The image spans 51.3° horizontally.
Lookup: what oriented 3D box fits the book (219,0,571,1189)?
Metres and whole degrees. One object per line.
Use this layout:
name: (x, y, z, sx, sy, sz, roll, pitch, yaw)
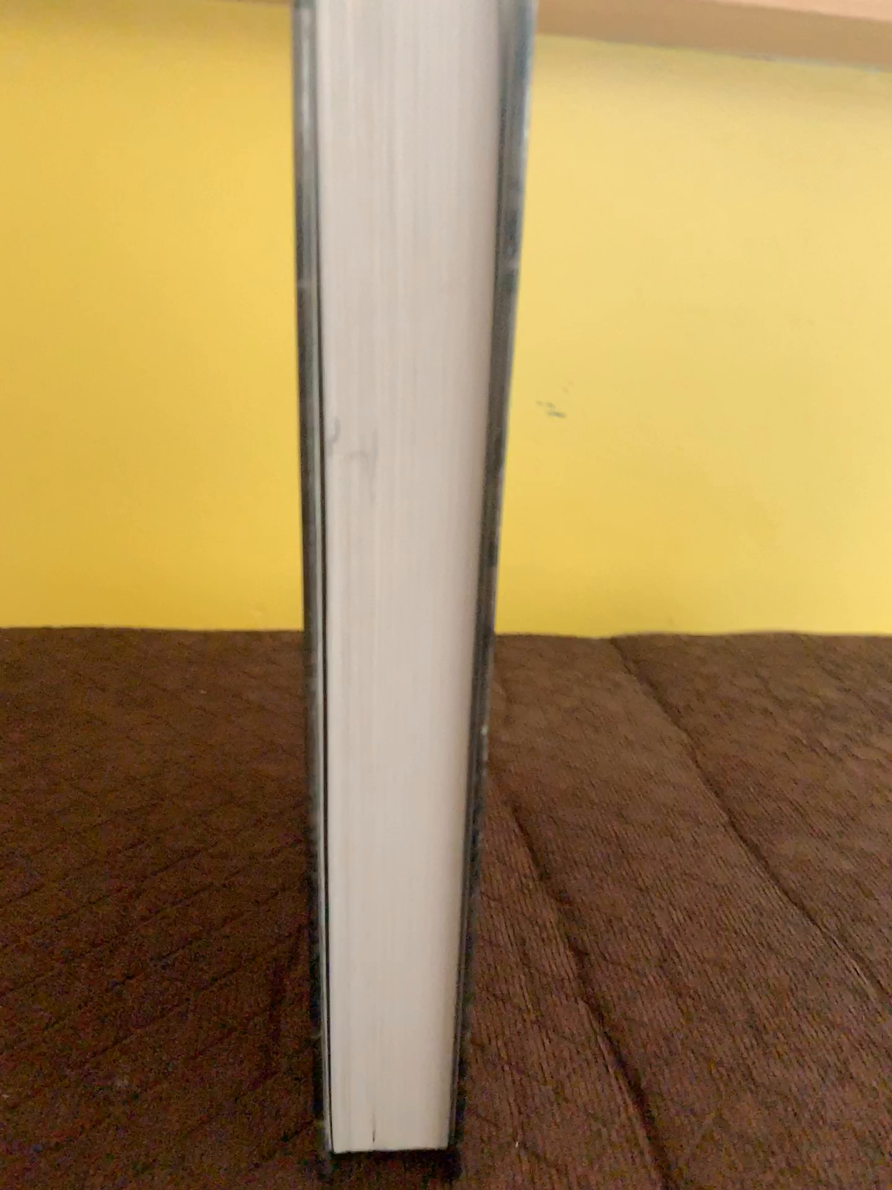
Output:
book: (-0.008, -0.009, 0.217, 0.040, 0.229, 0.161, 0, 18, -1)
